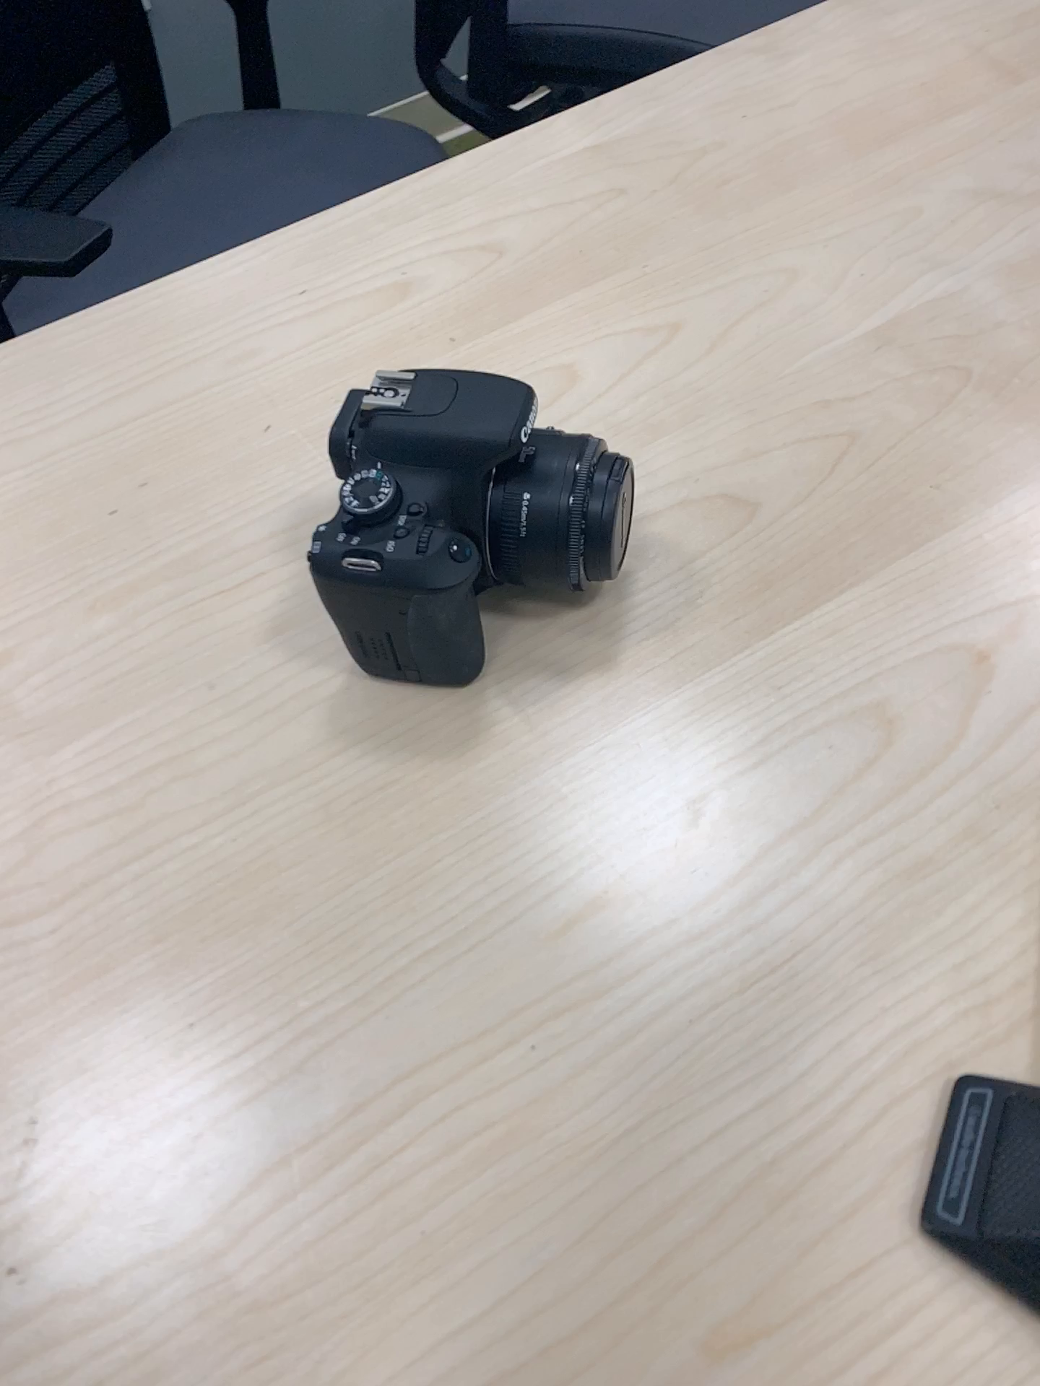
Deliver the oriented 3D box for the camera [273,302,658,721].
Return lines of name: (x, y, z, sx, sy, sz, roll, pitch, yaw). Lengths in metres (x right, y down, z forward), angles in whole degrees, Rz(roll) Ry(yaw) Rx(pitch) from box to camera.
camera: (-0.013, -0.082, 0.467, 0.123, 0.100, 0.140, 9, 56, 12)
